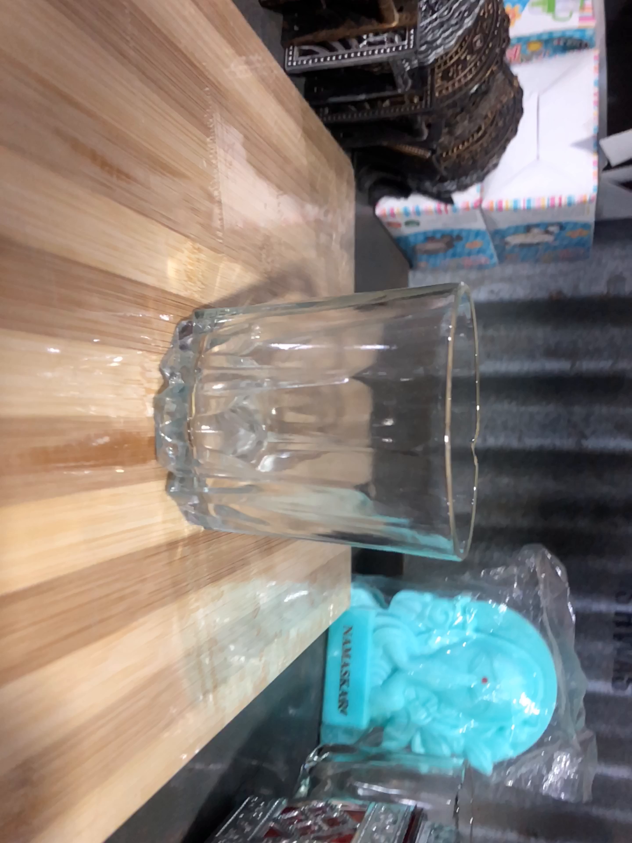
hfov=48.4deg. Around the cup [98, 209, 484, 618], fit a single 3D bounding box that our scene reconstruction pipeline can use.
[{"bbox_3d":[0.005,-0.001,0.205,0.080,0.080,0.080,1,90,-74],"label":"cup"}]
